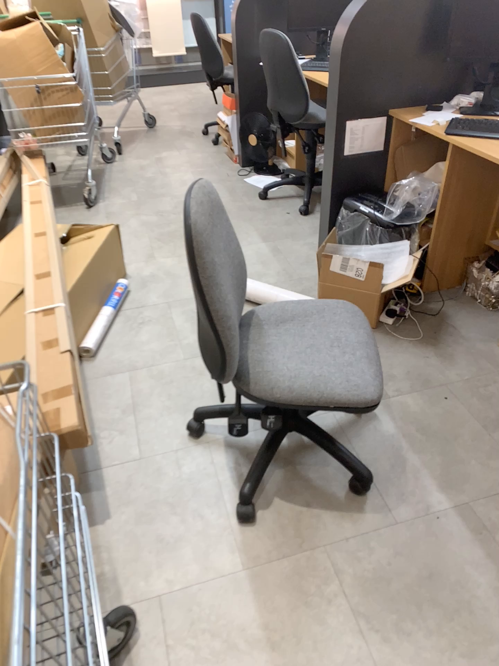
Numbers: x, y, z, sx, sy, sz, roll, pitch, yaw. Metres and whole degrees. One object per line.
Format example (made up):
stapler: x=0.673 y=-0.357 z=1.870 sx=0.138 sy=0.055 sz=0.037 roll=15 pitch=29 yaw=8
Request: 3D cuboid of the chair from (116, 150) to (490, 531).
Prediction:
chair: x=0.109 y=0.006 z=1.313 sx=0.623 sy=0.750 sz=0.633 roll=0 pitch=36 yaw=3
